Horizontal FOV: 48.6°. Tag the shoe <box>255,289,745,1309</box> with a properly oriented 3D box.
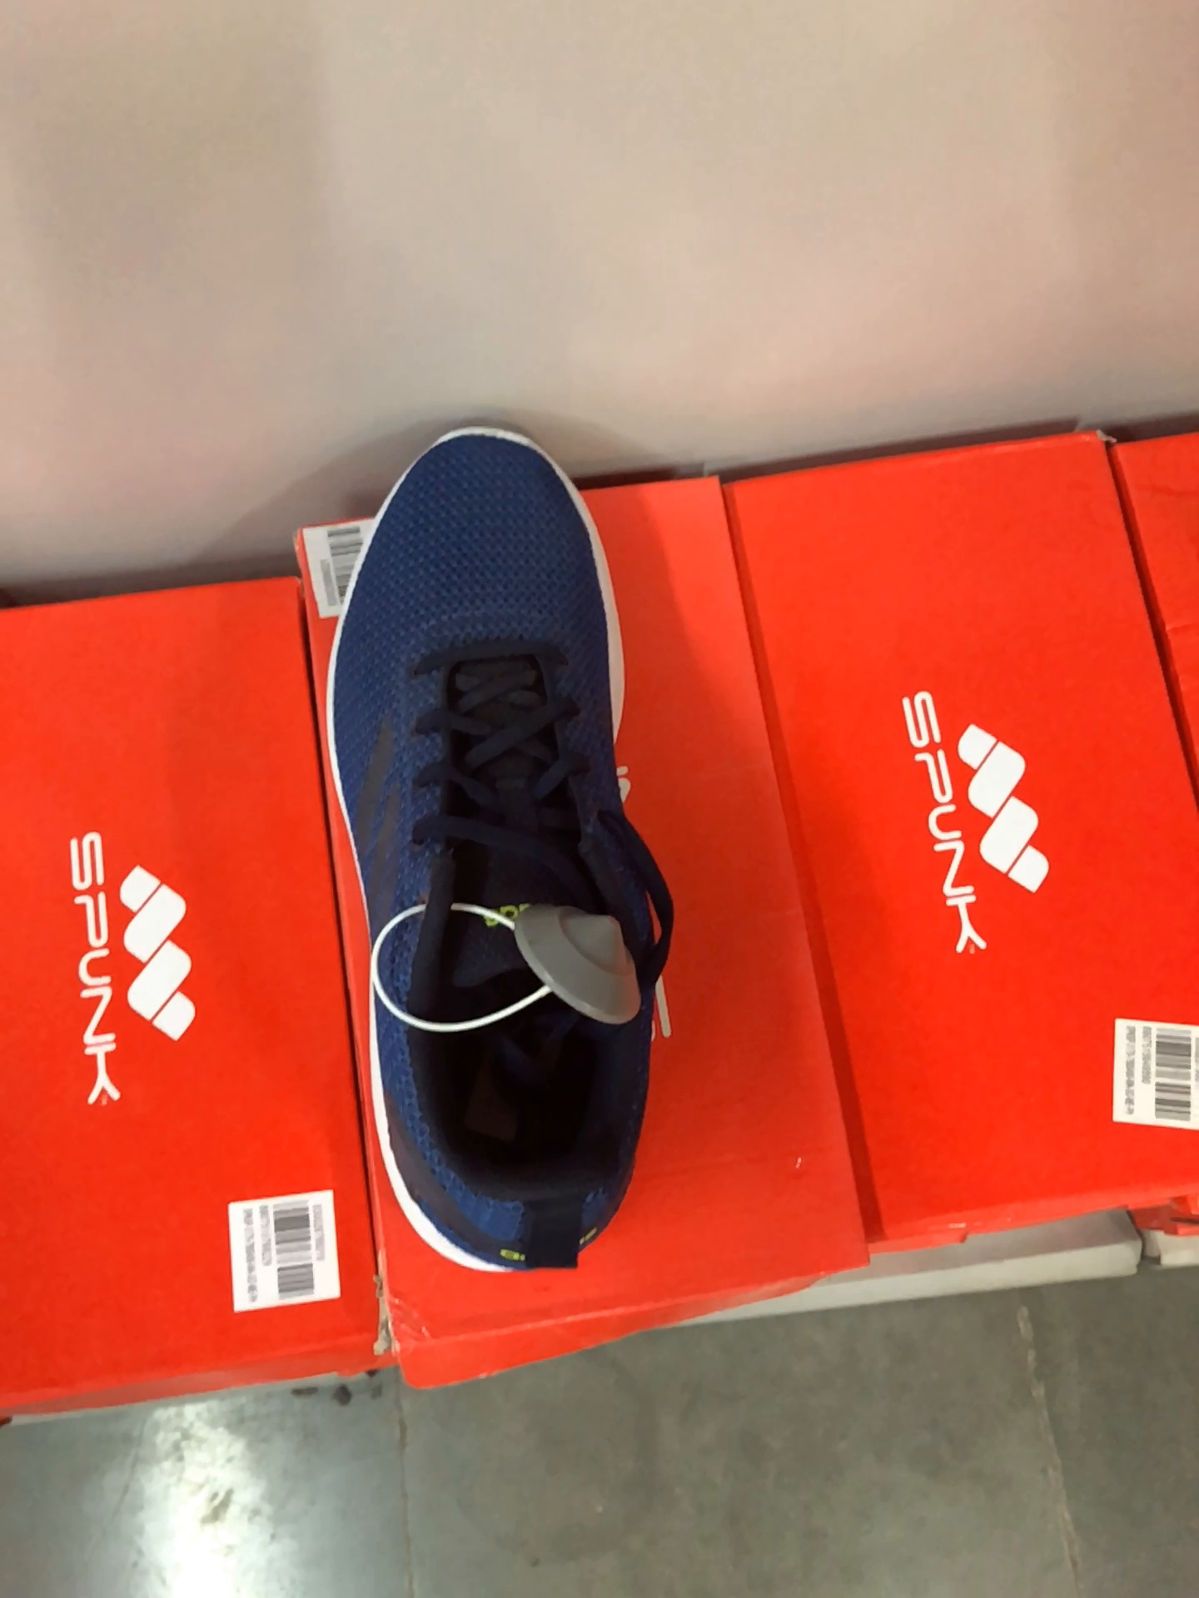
[{"bbox_3d":[-0.041,-0.003,0.457,0.113,0.114,0.316,-7,71,-5],"label":"shoe"}]
